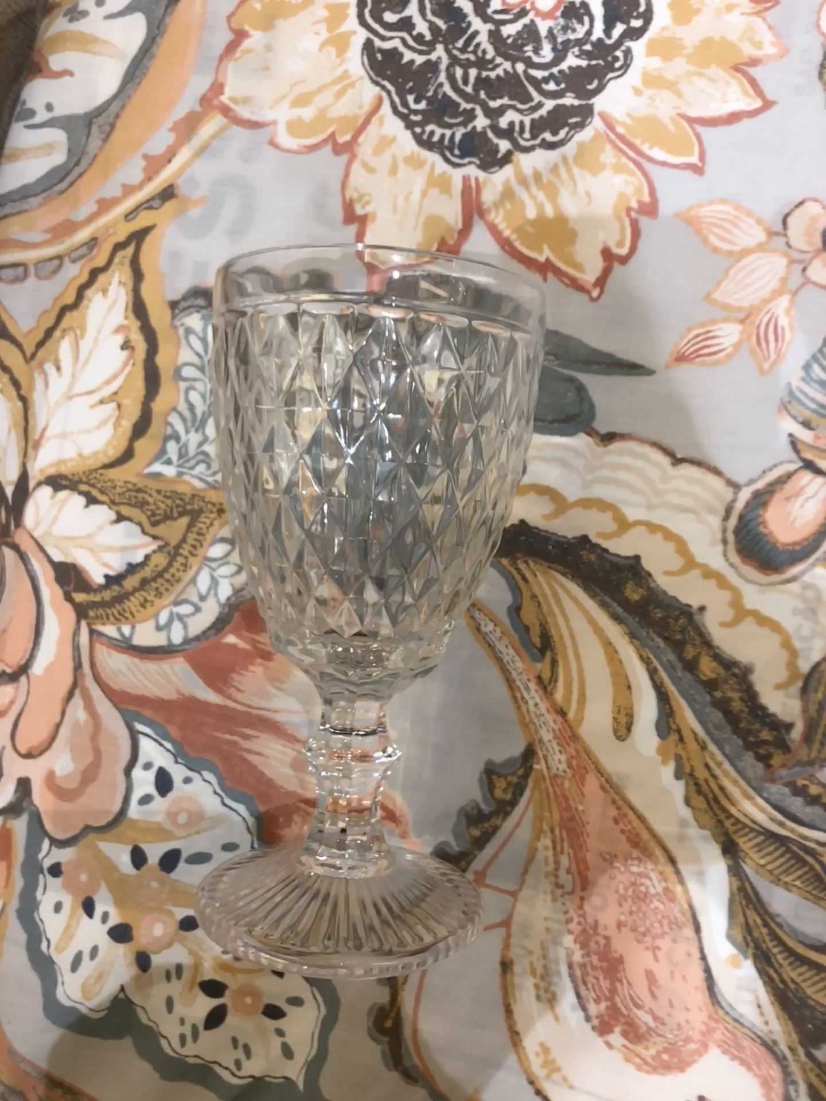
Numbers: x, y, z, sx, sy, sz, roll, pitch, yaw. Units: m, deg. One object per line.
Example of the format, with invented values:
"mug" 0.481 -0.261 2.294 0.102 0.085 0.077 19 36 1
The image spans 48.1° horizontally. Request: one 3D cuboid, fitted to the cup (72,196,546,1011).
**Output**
"cup" -0.018 0.009 0.241 0.090 0.080 0.170 5 89 8
